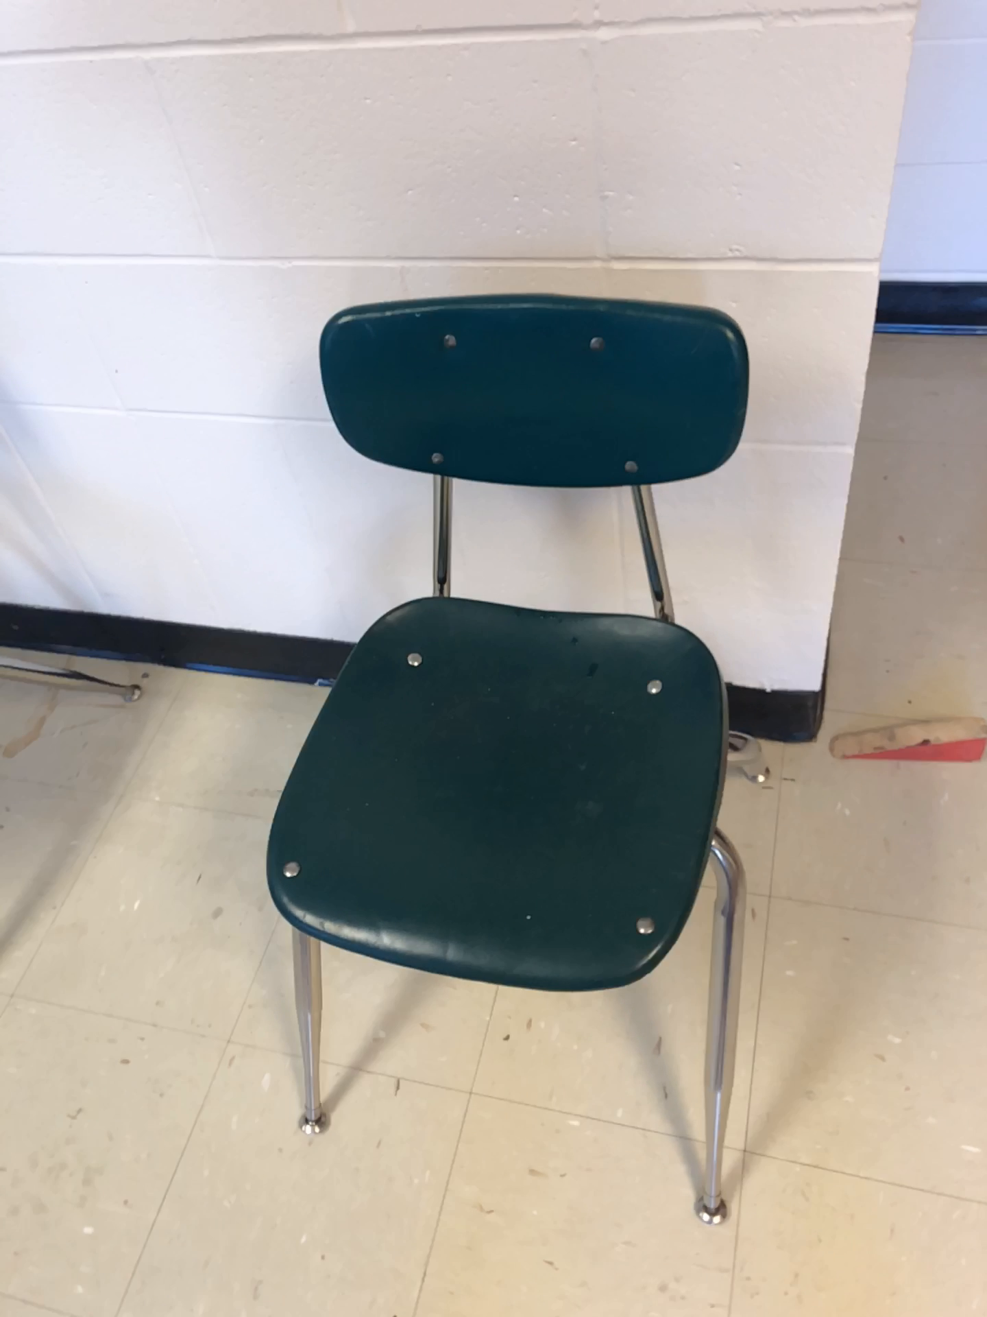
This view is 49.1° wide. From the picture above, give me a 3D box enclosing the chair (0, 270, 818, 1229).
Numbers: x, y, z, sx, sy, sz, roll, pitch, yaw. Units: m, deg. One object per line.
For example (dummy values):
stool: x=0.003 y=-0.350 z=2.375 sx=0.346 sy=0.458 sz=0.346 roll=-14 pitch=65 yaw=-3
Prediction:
chair: x=0.028 y=0.095 z=1.065 sx=0.481 sy=0.696 sz=0.593 roll=5 pitch=50 yaw=15
